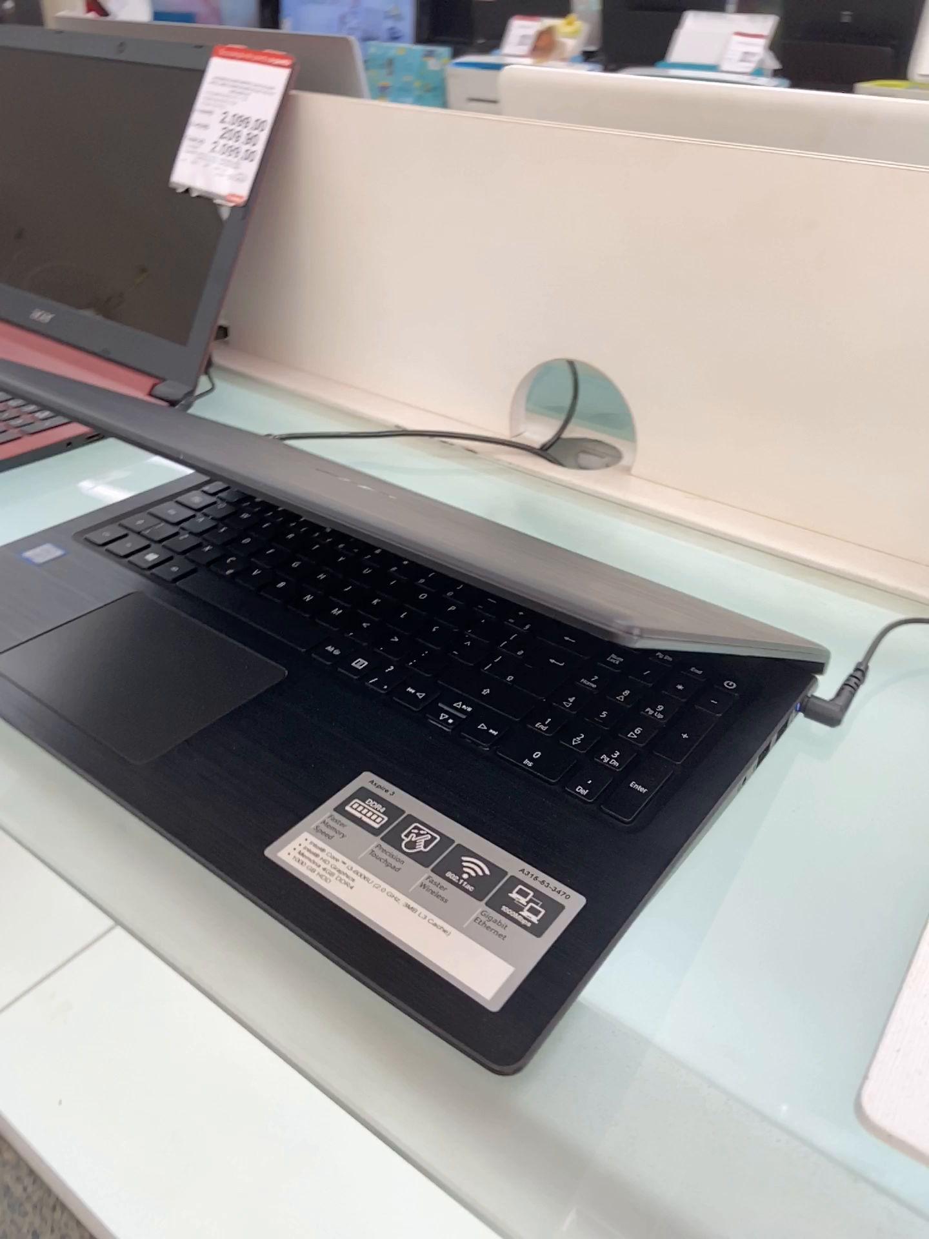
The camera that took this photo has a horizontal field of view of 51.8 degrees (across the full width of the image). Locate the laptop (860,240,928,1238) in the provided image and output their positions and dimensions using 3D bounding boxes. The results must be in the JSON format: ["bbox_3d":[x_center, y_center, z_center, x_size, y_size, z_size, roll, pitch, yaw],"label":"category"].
[{"bbox_3d":[0.363,0.053,0.247,0.381,0.165,0.352,23,39,27],"label":"laptop"}]

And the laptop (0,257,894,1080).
[{"bbox_3d":[-0.064,-0.042,0.407,0.379,0.123,0.240,23,39,31],"label":"laptop"}]
